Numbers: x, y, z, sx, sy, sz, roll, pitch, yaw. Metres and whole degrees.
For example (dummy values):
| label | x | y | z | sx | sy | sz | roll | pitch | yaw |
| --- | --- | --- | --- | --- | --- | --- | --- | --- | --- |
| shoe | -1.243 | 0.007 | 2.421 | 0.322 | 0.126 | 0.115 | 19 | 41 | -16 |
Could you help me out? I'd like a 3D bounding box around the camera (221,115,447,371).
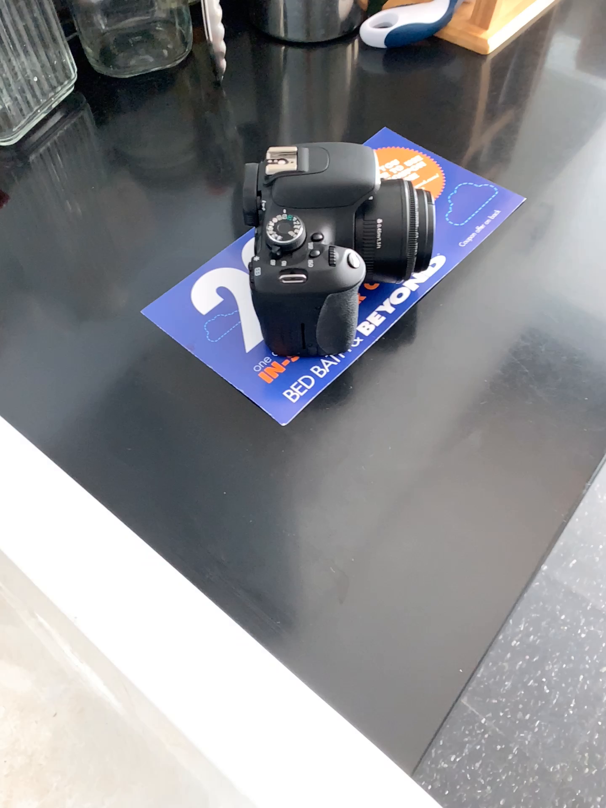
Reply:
| label | x | y | z | sx | sy | sz | roll | pitch | yaw |
| --- | --- | --- | --- | --- | --- | --- | --- | --- | --- |
| camera | 0.017 | -0.101 | 0.399 | 0.118 | 0.098 | 0.123 | -2 | 58 | 1 |
